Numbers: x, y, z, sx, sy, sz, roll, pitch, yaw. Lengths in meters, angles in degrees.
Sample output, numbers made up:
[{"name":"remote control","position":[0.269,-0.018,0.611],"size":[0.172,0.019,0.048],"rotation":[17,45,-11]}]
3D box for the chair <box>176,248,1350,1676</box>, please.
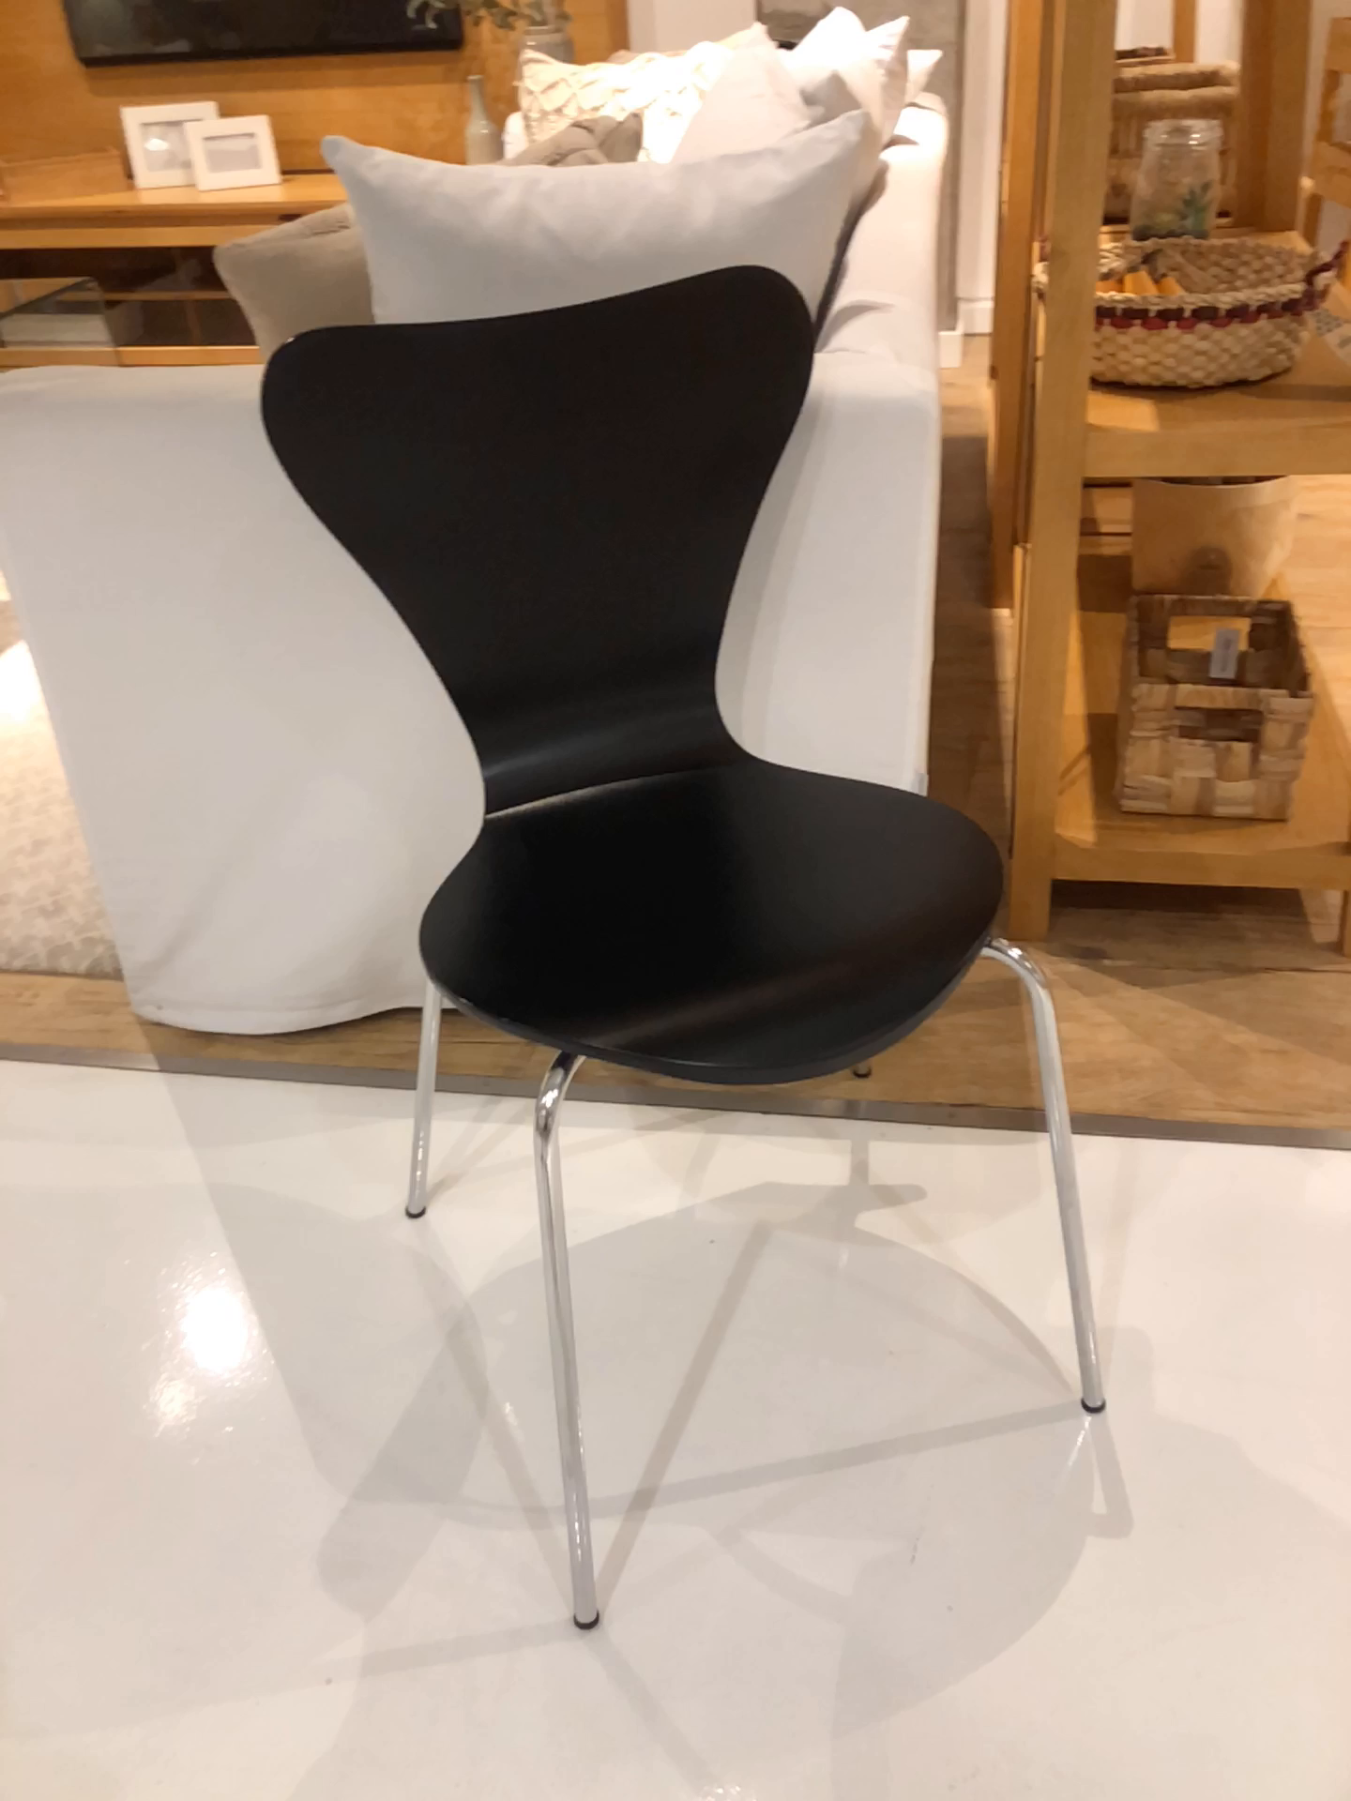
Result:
[{"name":"chair","position":[0.029,0.004,1.107],"size":[0.541,0.774,0.554],"rotation":[-16,35,-17]}]
